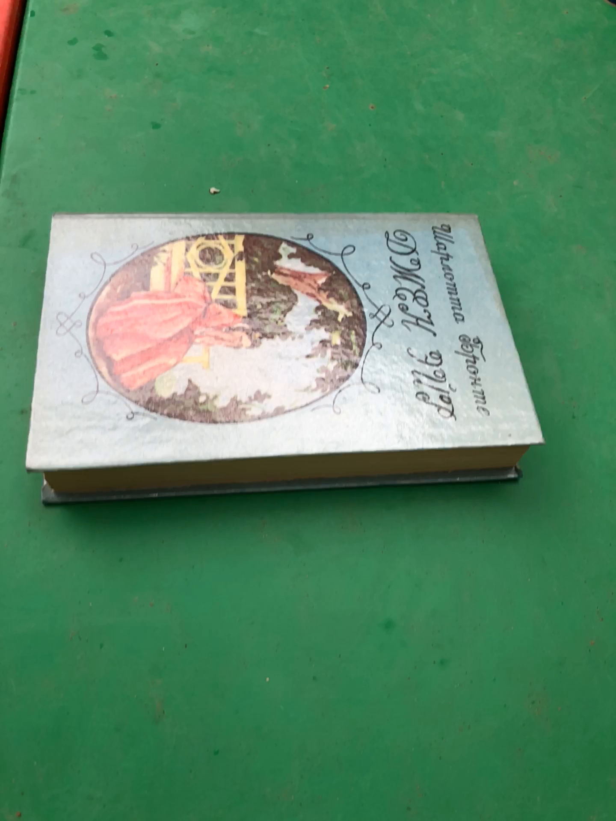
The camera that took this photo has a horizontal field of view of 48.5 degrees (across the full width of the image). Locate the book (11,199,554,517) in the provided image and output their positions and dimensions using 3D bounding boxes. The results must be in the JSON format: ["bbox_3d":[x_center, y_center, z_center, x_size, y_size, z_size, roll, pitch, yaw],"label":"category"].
[{"bbox_3d":[-0.012,-0.030,0.291,0.196,0.030,0.135,-2,61,-7],"label":"book"}]
